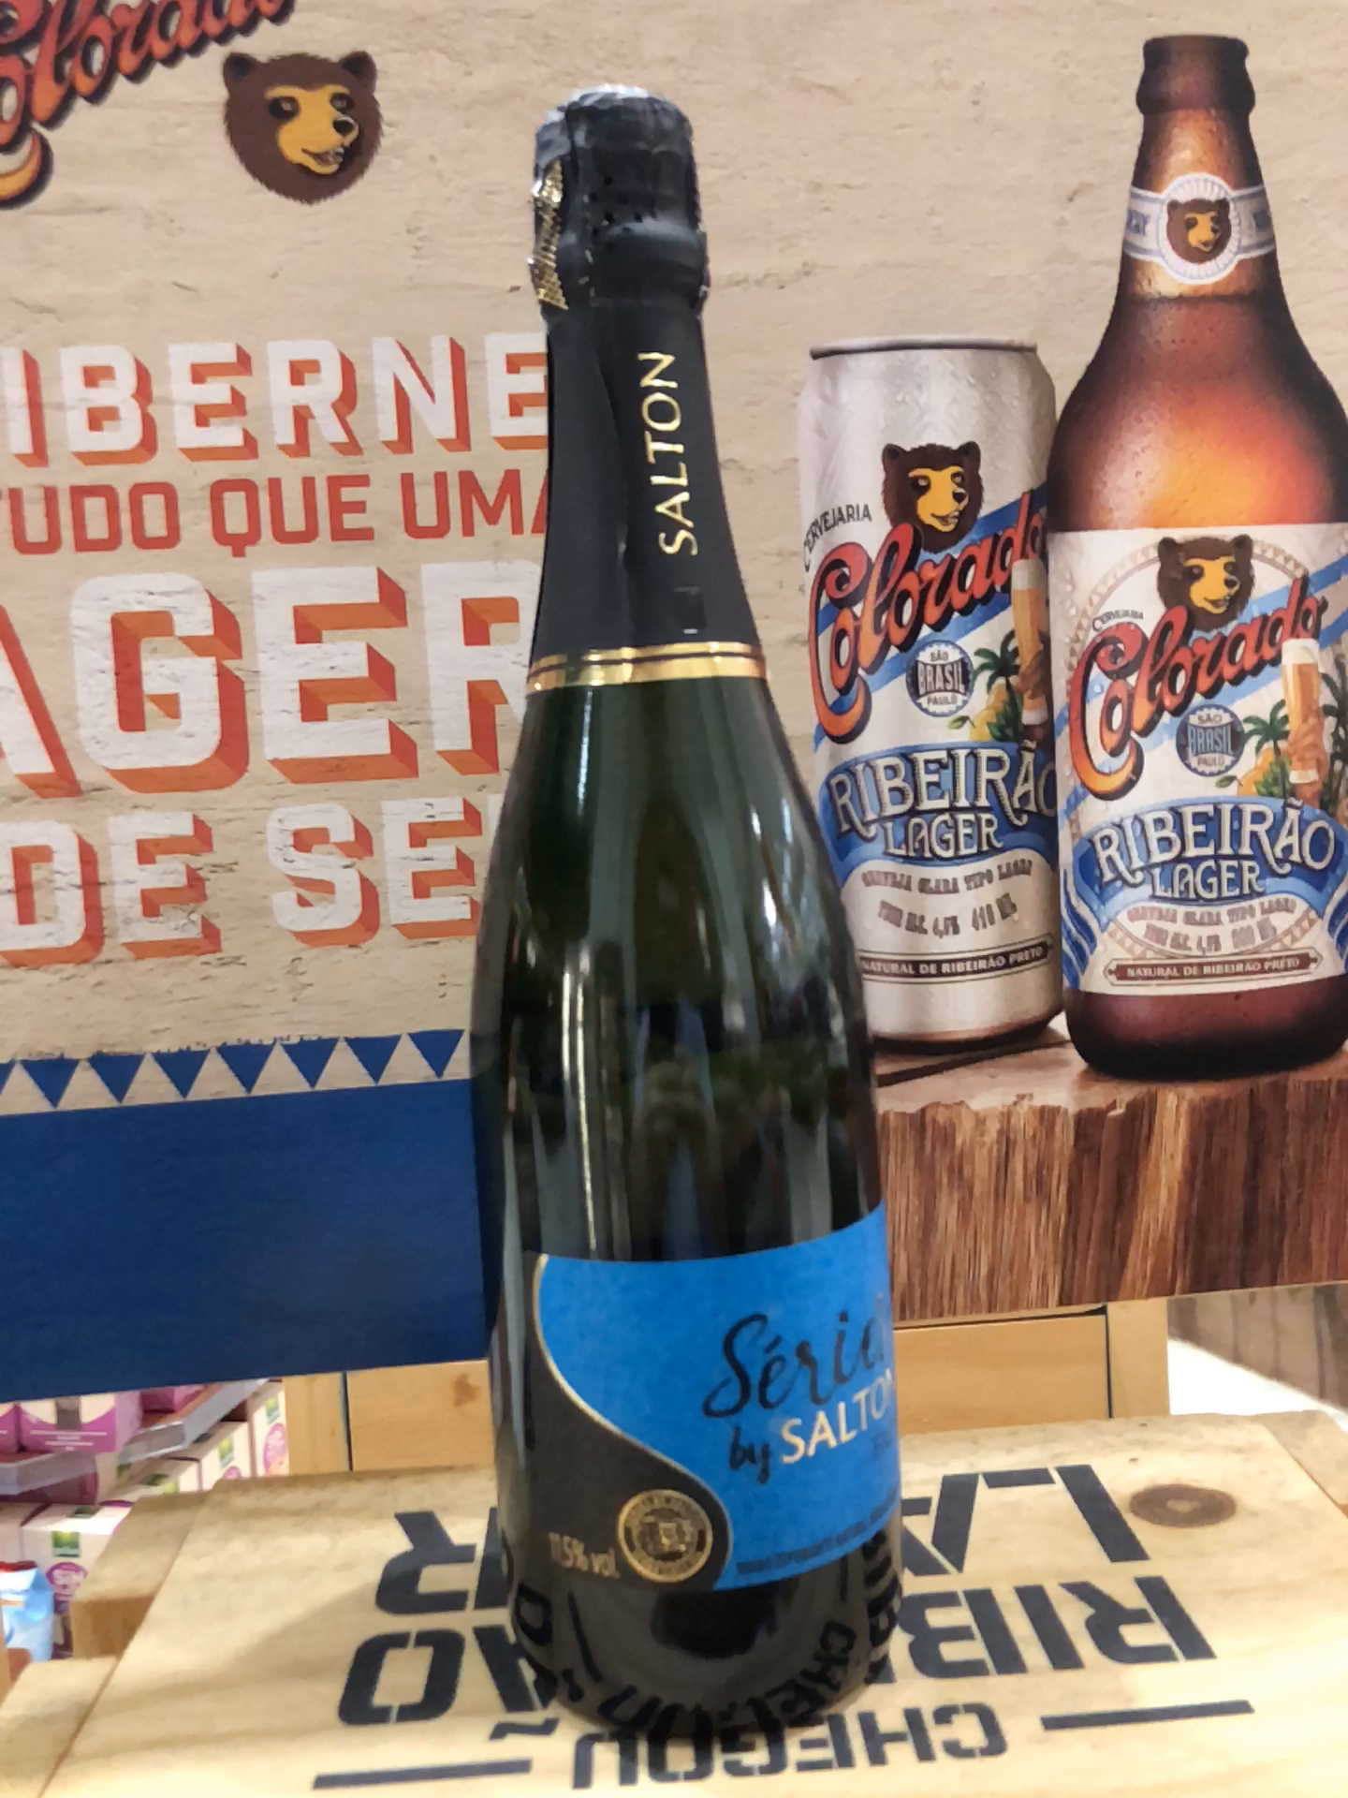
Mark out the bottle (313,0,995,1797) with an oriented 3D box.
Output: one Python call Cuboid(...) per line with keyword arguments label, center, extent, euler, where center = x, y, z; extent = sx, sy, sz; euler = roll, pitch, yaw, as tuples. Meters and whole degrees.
Cuboid(label="bottle", center=(-0.005, -0.007, 0.297), extent=(0.090, 0.320, 0.080), euler=(-5, 3, -32))
